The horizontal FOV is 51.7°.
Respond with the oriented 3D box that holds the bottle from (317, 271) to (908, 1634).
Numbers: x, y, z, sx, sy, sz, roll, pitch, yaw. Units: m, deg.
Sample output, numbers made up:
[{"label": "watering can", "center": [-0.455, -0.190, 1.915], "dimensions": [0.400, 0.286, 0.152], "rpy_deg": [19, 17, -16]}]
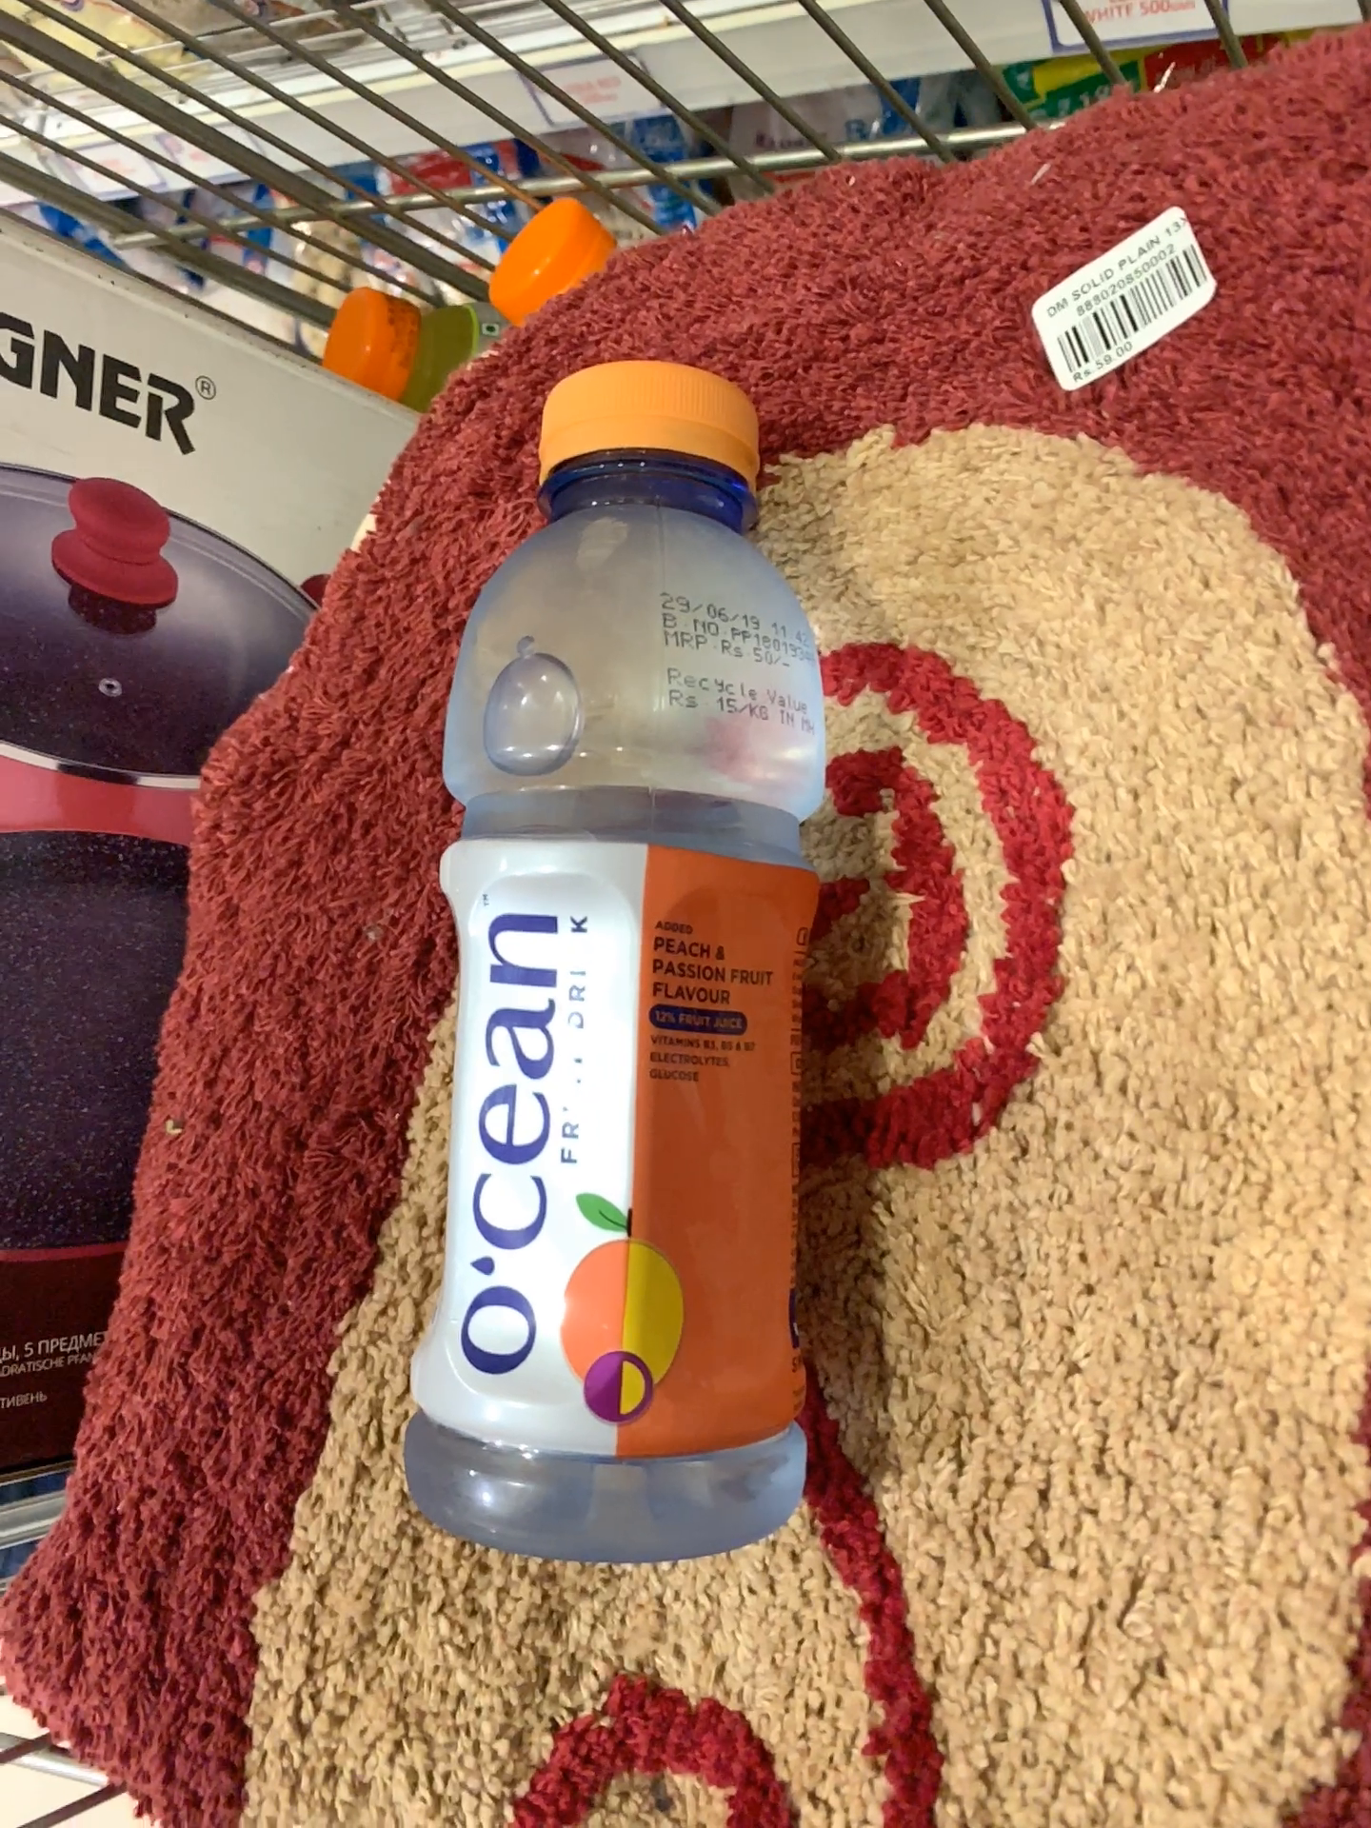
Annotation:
[{"label": "bottle", "center": [-0.009, 0.005, 0.229], "dimensions": [0.070, 0.060, 0.180], "rpy_deg": [1, 89, 26]}]
